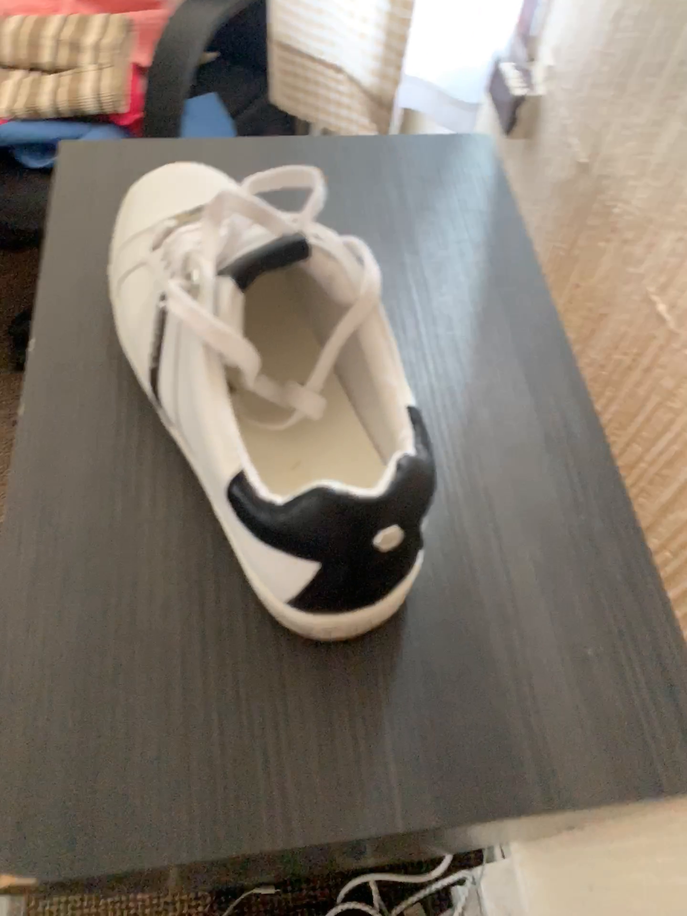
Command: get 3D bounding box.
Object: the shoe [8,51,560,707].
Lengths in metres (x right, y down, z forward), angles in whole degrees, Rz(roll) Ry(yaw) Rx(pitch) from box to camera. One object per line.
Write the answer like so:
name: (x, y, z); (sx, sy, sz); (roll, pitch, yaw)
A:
shoe: (-0.042, -0.051, 0.293); (0.104, 0.087, 0.261); (-22, 62, -17)
